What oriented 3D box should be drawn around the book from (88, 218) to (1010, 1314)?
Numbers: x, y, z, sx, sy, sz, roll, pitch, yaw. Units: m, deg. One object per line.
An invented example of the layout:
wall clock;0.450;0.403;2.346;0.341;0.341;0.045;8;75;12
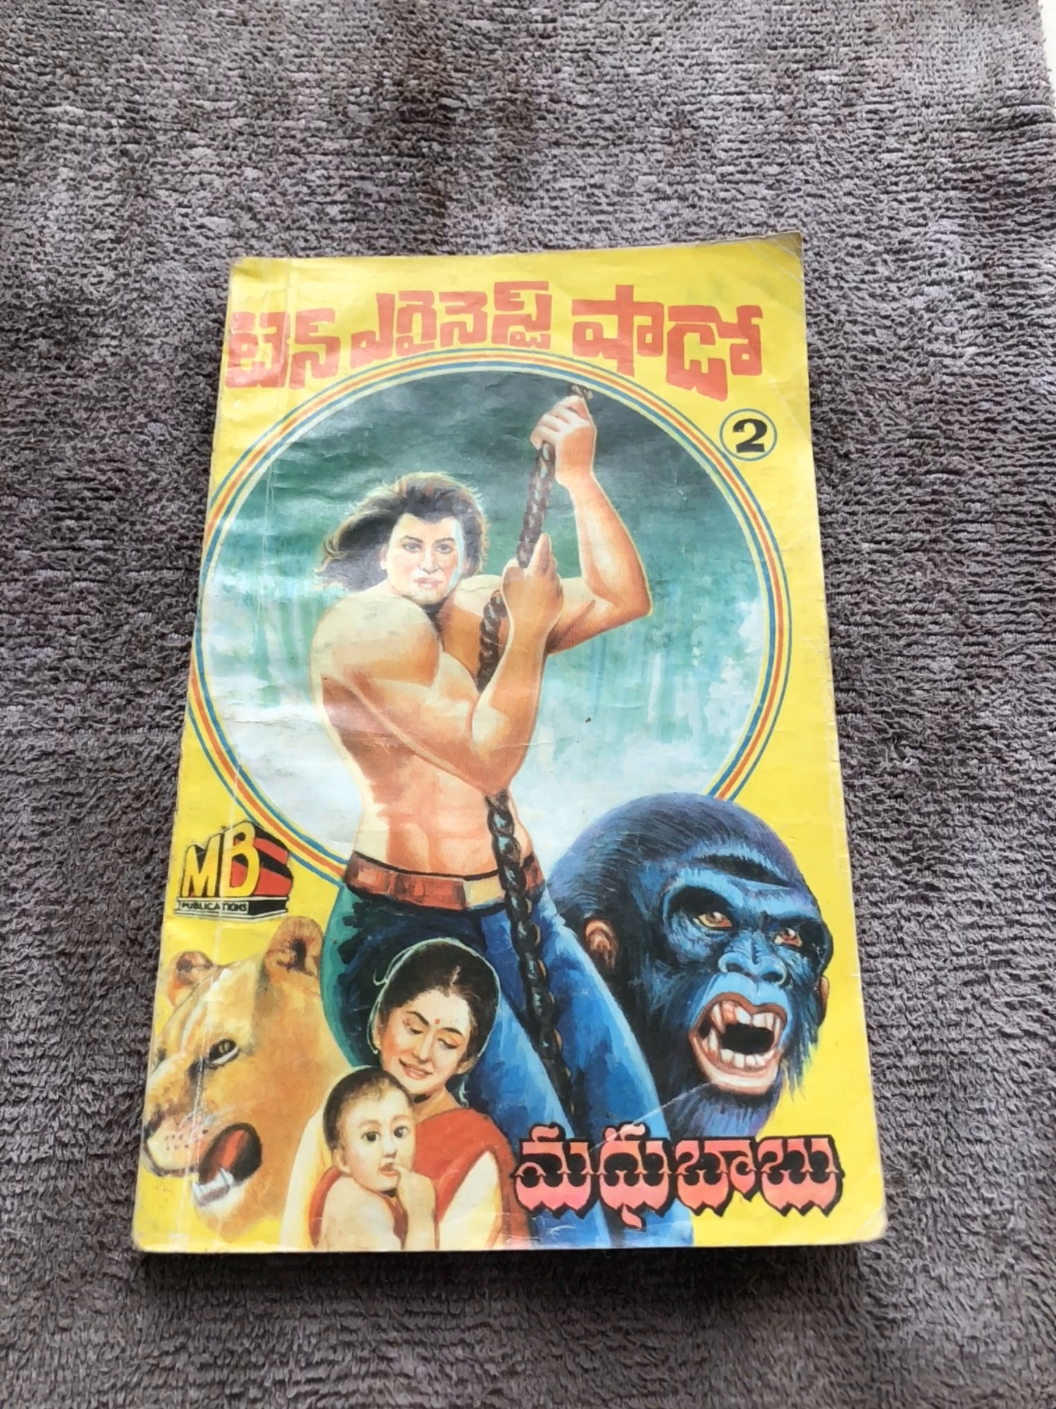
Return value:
book;0.002;0.000;0.178;0.110;0.020;0.160;0;70;-3
